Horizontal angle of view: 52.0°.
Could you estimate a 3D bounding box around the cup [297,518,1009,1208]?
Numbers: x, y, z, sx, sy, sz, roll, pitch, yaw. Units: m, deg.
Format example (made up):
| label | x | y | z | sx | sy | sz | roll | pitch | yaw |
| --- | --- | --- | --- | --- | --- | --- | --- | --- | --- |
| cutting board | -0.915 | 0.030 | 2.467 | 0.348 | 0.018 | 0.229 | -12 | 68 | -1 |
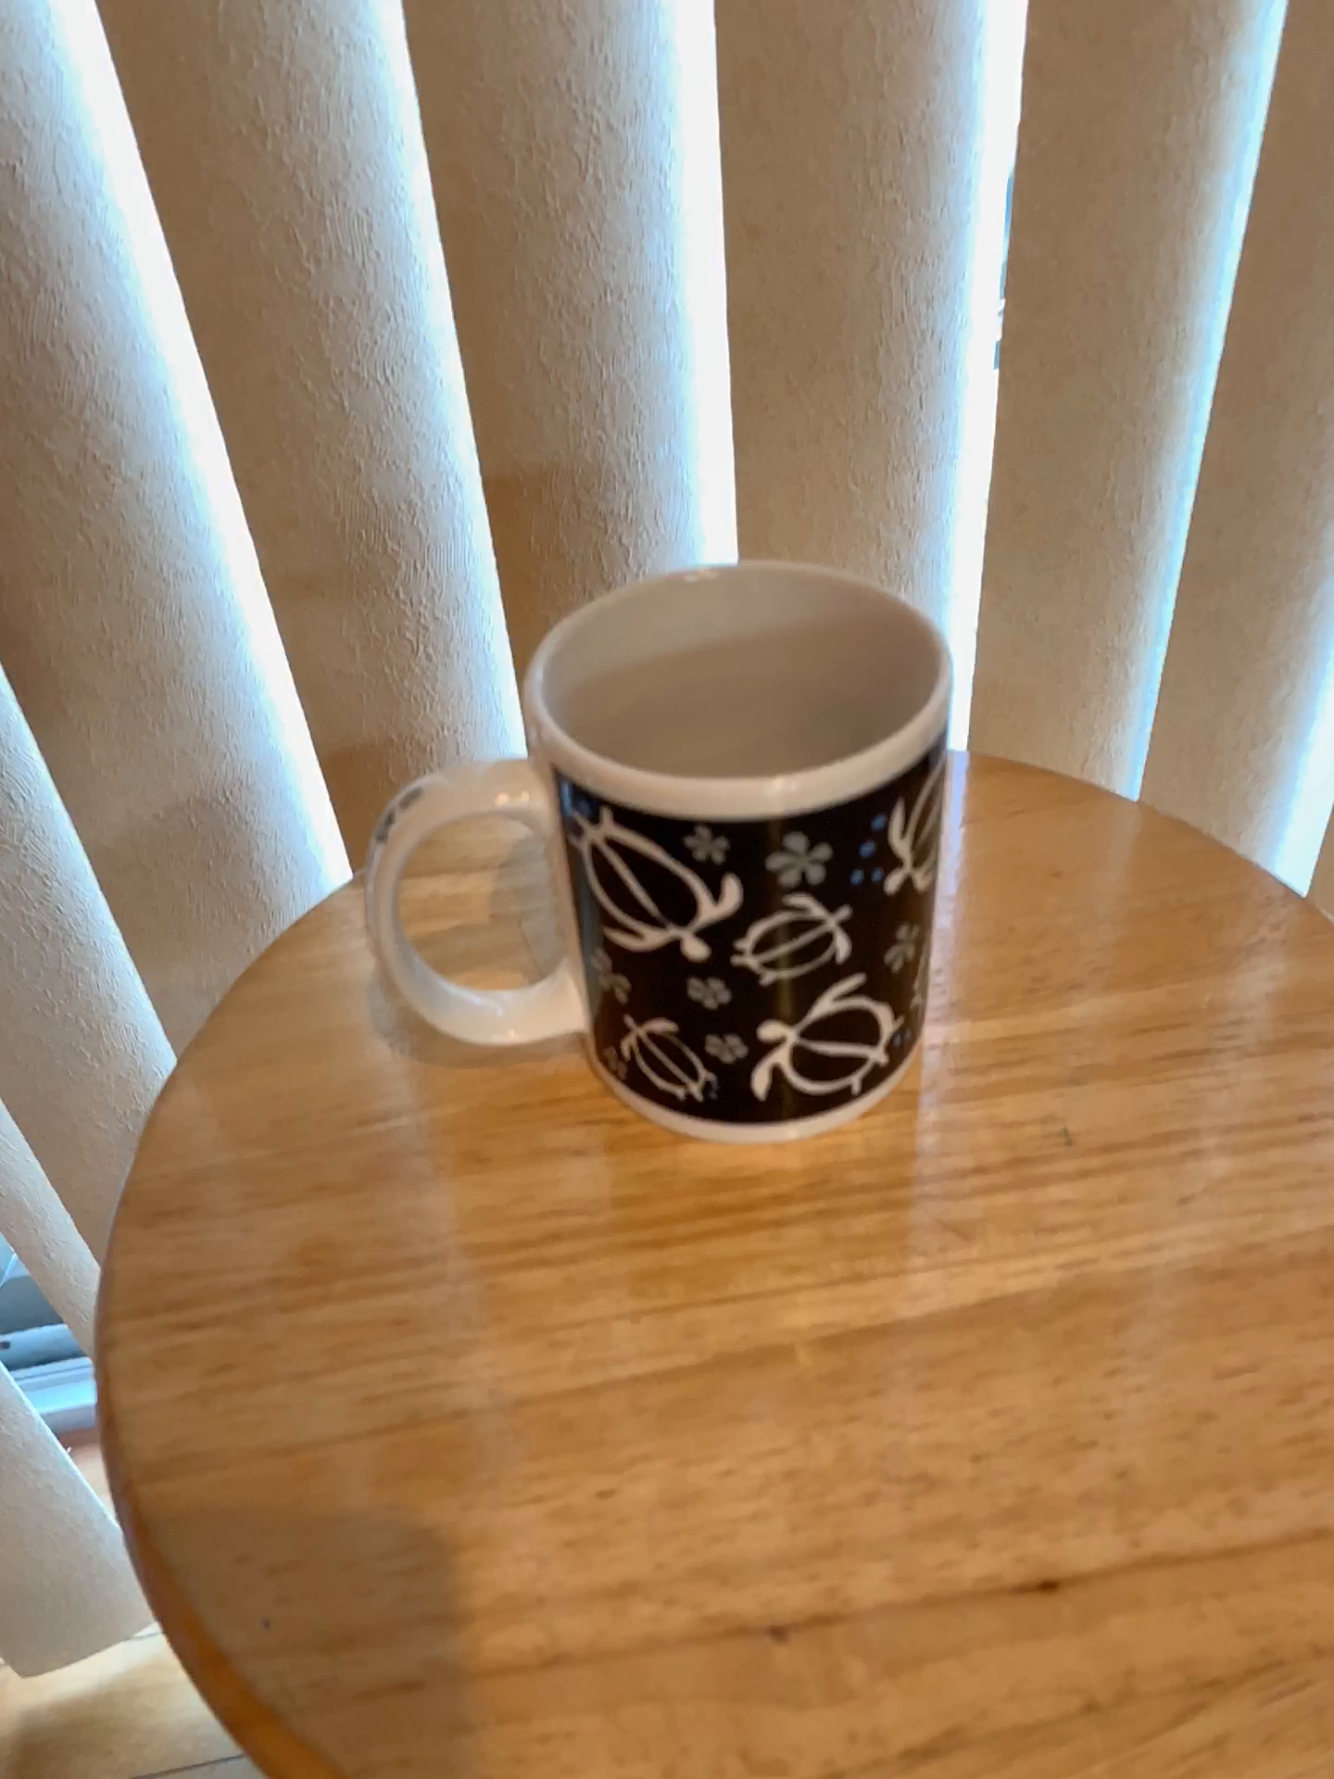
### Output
| label | x | y | z | sx | sy | sz | roll | pitch | yaw |
| --- | --- | --- | --- | --- | --- | --- | --- | --- | --- |
| cup | -0.003 | -0.007 | 0.295 | 0.120 | 0.099 | 0.090 | -8 | 40 | -2 |
